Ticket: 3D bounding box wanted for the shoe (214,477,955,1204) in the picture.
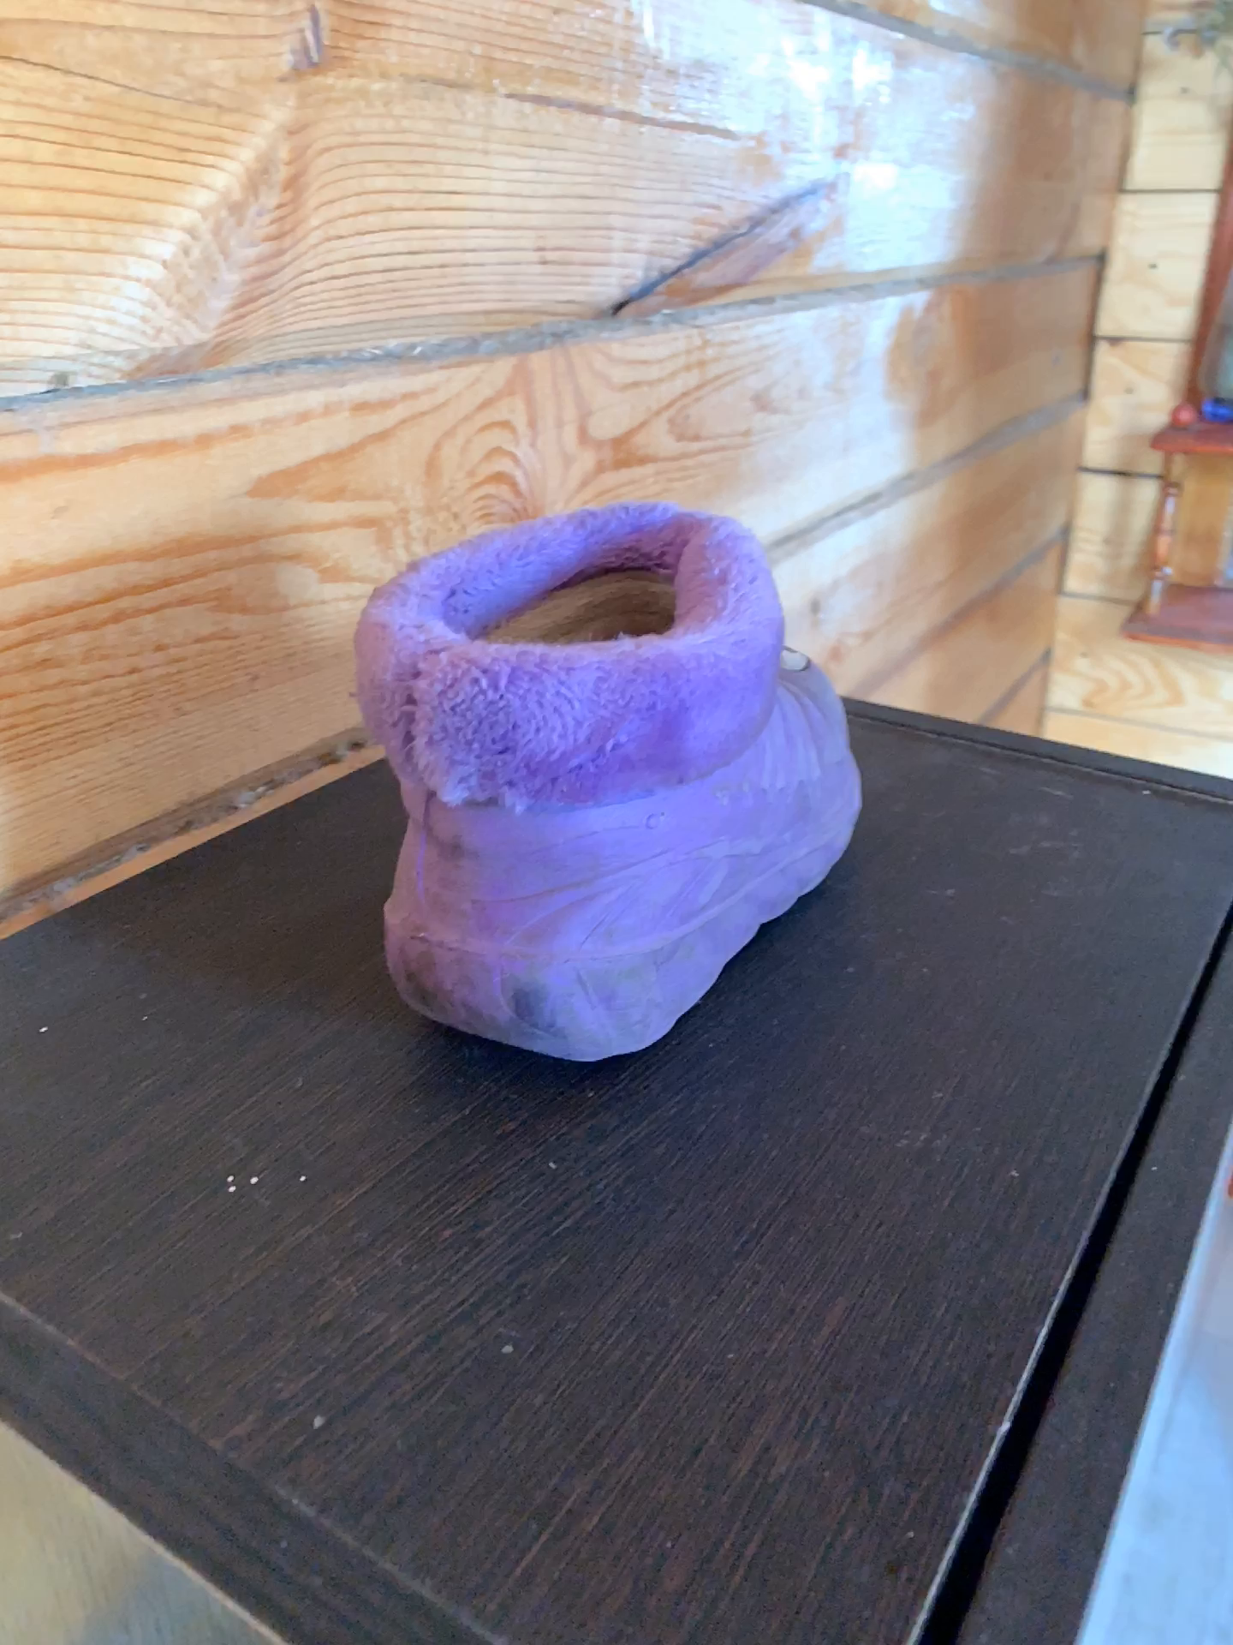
[{"bbox_3d":[0.010,-0.018,0.326,0.090,0.099,0.201,13,28,26],"label":"shoe"}]
